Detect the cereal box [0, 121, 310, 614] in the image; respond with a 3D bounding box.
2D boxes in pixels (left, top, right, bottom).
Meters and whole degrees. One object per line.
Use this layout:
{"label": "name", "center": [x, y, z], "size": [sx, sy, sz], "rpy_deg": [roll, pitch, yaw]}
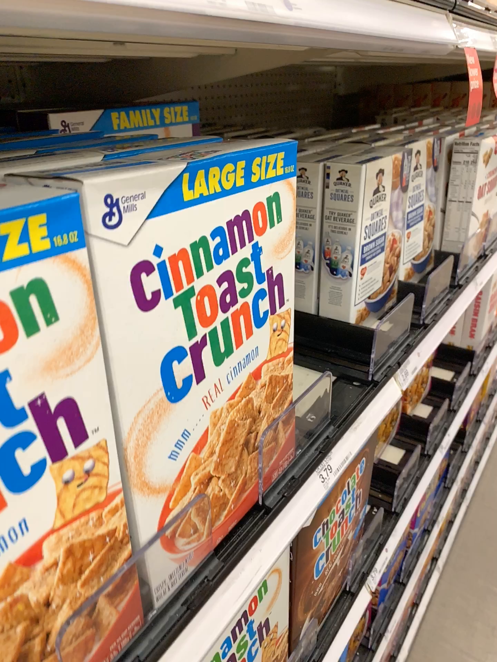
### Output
{"label": "cereal box", "center": [-0.036, 0.013, 0.364], "size": [0.070, 0.289, 0.191], "rpy_deg": [15, 30, 32]}
